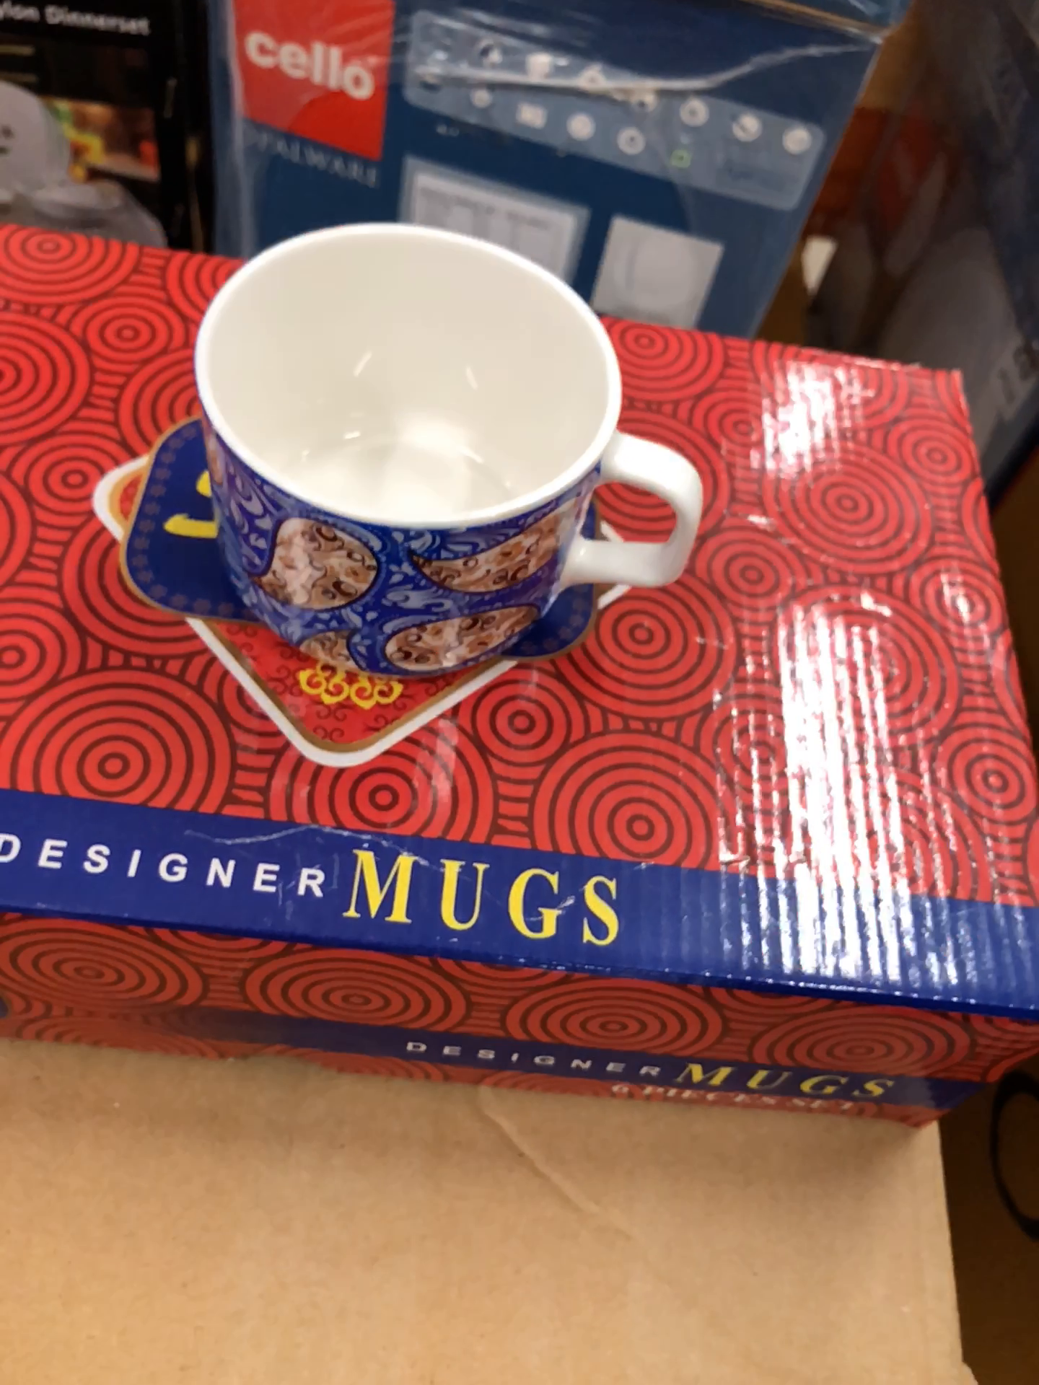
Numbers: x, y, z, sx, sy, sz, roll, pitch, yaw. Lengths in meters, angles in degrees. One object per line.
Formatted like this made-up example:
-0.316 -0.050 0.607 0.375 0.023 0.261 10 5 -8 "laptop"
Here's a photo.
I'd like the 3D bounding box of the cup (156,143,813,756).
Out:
-0.005 -0.045 0.222 0.100 0.060 0.070 15 54 -2 "cup"
